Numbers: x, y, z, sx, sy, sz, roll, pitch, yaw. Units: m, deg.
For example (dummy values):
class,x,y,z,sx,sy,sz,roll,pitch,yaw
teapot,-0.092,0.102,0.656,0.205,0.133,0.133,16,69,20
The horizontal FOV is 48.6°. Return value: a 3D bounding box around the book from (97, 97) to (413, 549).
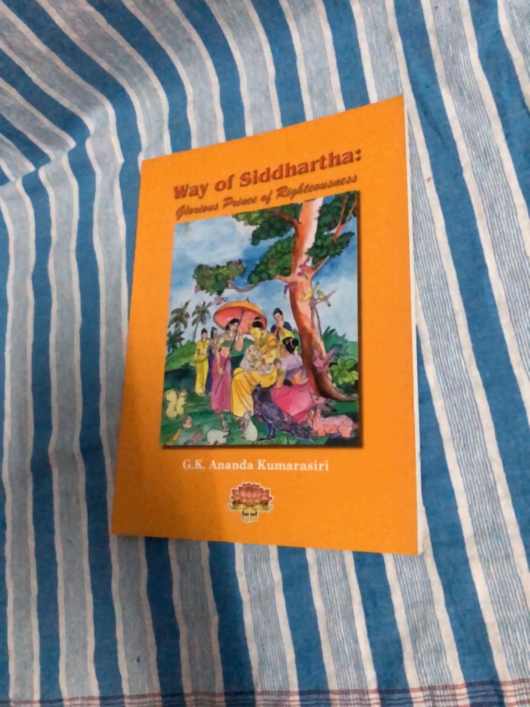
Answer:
class,x,y,z,sx,sy,sz,roll,pitch,yaw
book,-0.011,-0.017,0.323,0.170,0.010,0.230,-5,76,22
